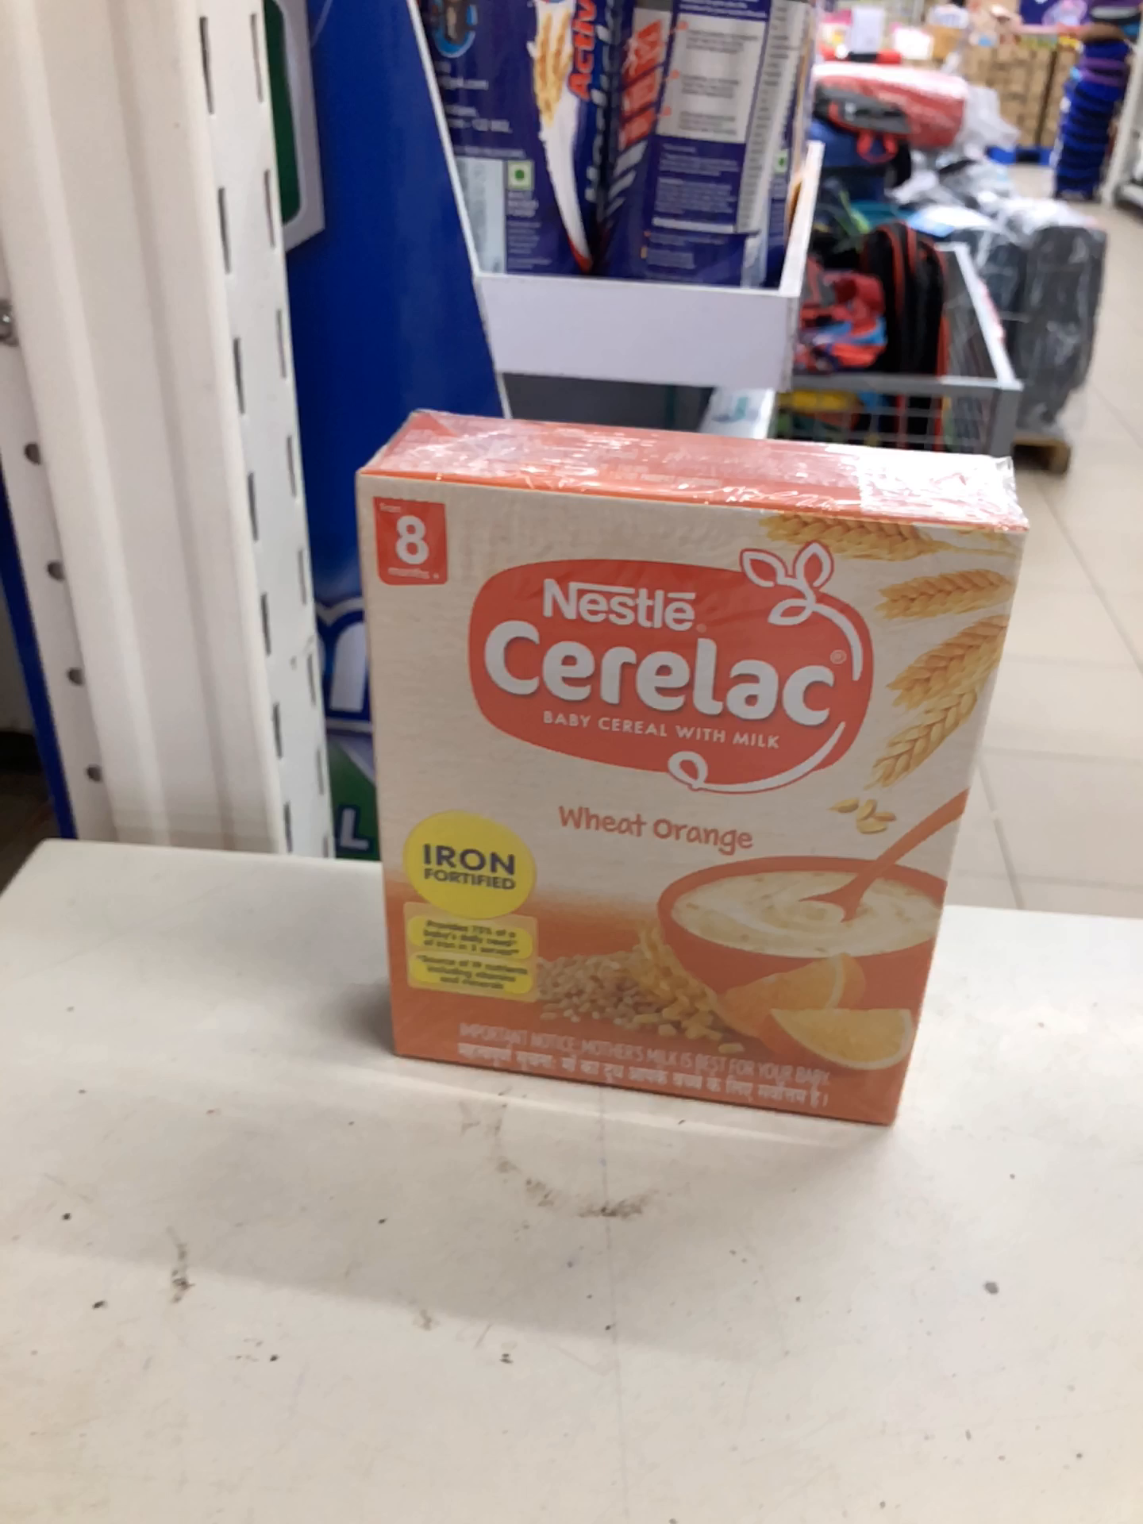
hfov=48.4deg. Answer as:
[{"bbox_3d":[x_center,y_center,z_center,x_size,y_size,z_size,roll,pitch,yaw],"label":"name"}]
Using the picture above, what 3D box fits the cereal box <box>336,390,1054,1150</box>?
[{"bbox_3d":[0.026,0.009,0.356,0.160,0.199,0.050,7,33,8],"label":"cereal box"}]
